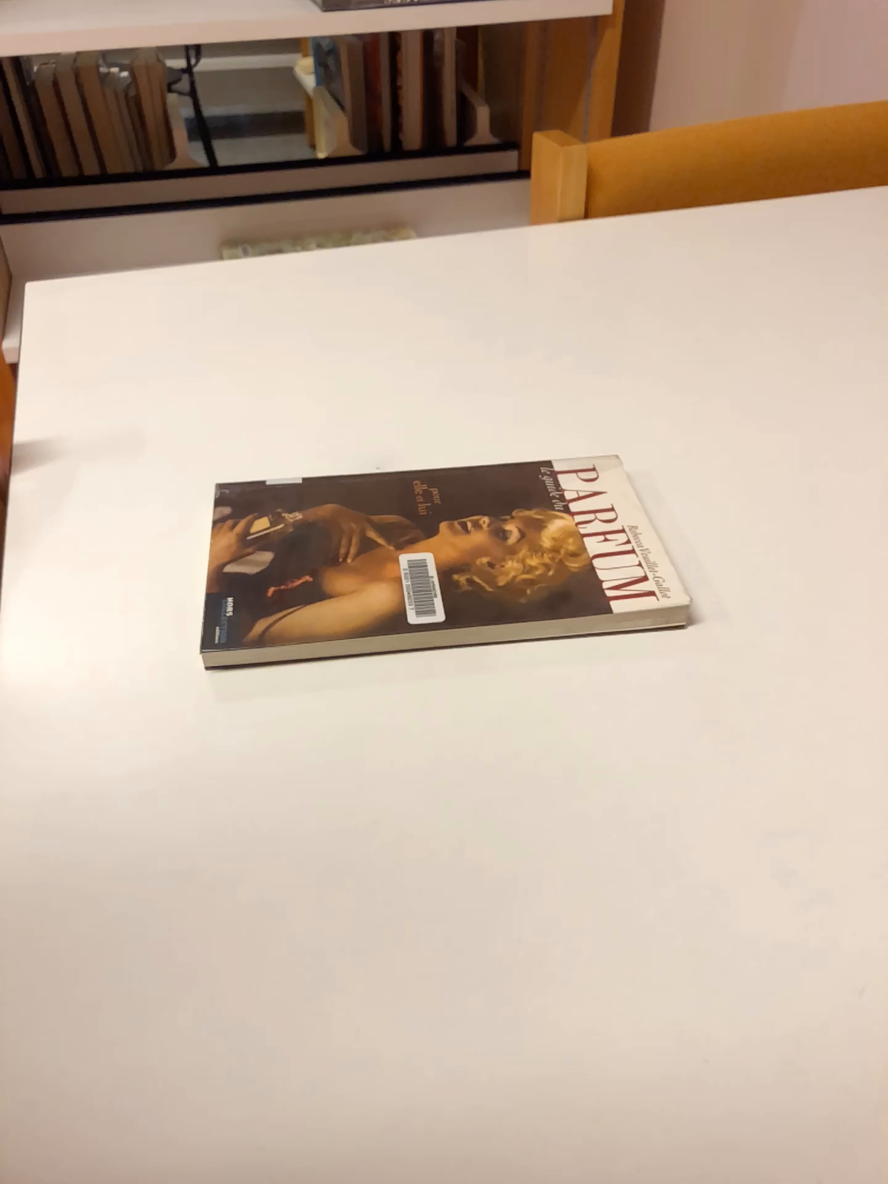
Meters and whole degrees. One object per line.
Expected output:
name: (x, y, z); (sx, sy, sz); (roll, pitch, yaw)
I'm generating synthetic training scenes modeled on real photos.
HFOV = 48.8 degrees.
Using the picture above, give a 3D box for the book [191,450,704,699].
book: (-0.005, -0.015, 0.455); (0.210, 0.020, 0.134); (-5, 39, -6)
